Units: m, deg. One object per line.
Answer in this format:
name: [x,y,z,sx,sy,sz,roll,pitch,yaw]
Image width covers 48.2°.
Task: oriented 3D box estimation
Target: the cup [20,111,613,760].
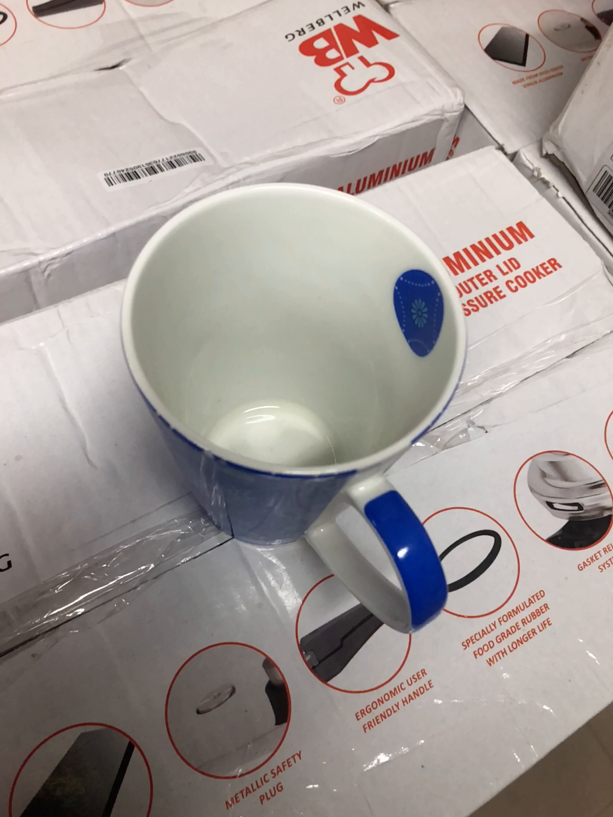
cup: [-0.003,0.009,0.182,0.080,0.090,0.120,-27,73,-19]
